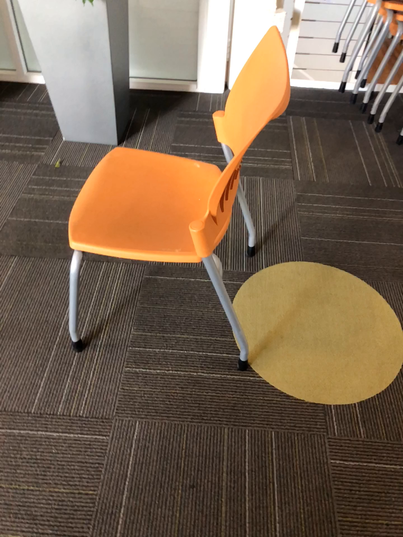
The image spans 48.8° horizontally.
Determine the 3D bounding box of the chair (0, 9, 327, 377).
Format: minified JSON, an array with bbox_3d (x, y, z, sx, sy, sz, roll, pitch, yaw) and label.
[{"bbox_3d":[-0.072,-0.200,1.256,0.610,0.747,0.643,5,46,3],"label":"chair"}]
